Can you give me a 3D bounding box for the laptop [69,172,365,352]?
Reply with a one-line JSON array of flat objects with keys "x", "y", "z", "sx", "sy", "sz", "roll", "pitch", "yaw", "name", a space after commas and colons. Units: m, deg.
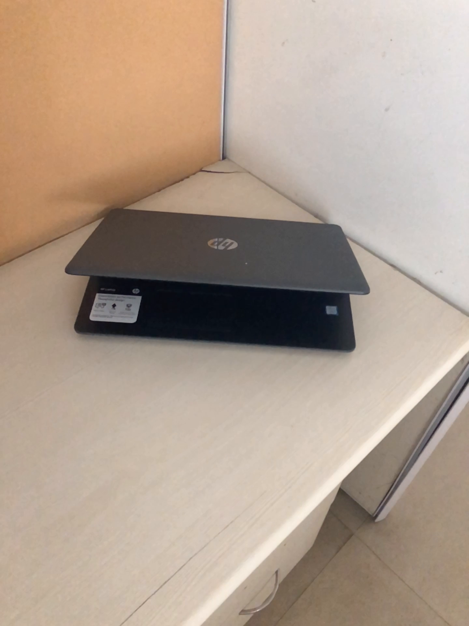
[{"x": -0.018, "y": -0.081, "z": 0.730, "sx": 0.361, "sy": 0.074, "sz": 0.239, "roll": 4, "pitch": 51, "yaw": 0, "name": "laptop"}]
